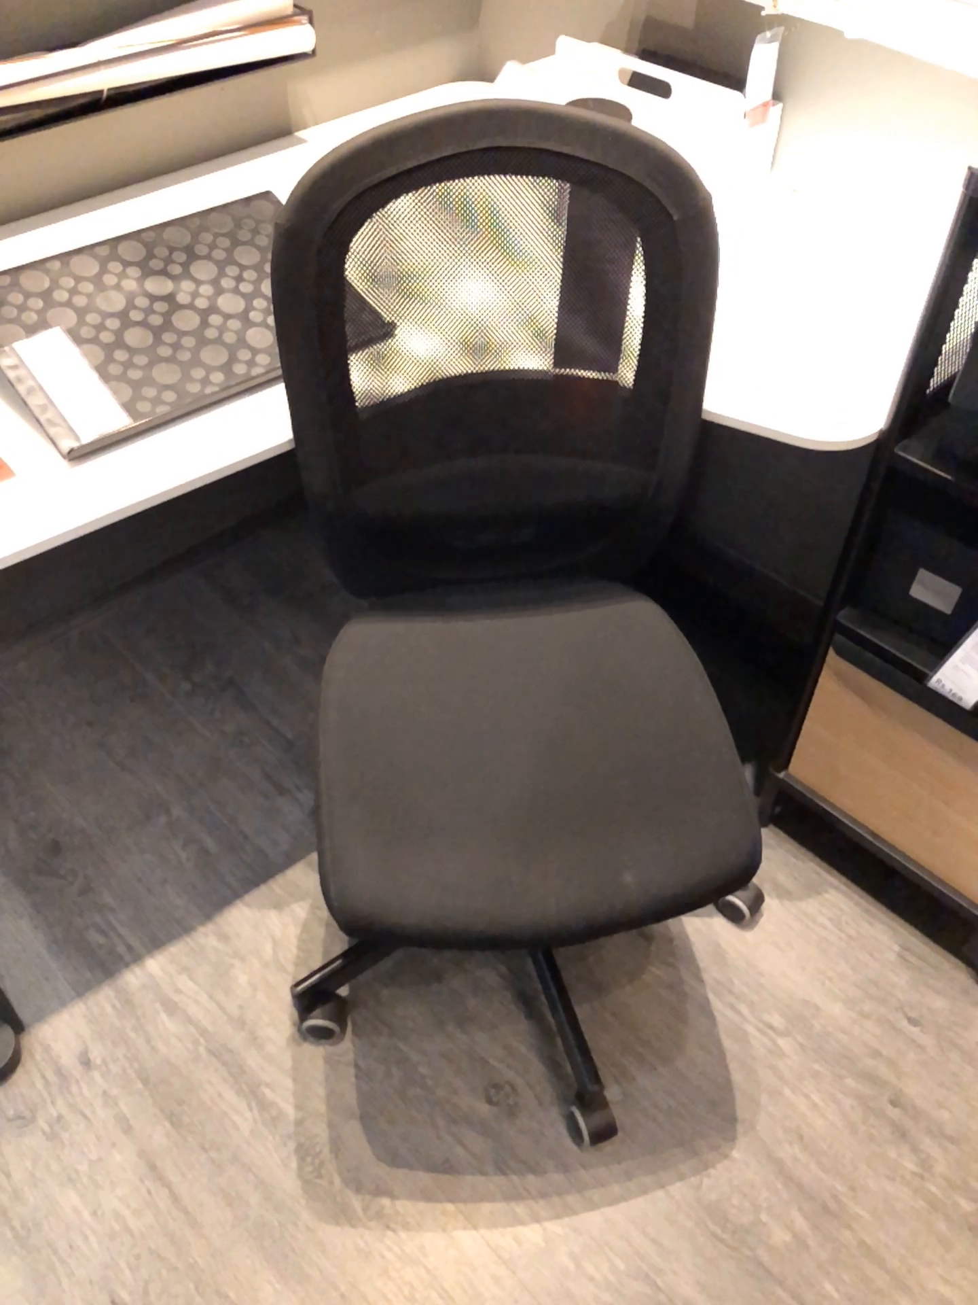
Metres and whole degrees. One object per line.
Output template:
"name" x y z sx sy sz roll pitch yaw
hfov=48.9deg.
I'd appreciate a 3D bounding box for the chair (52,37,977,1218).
"chair" 0.035 -0.005 1.098 0.630 0.884 0.715 -8 47 -8
